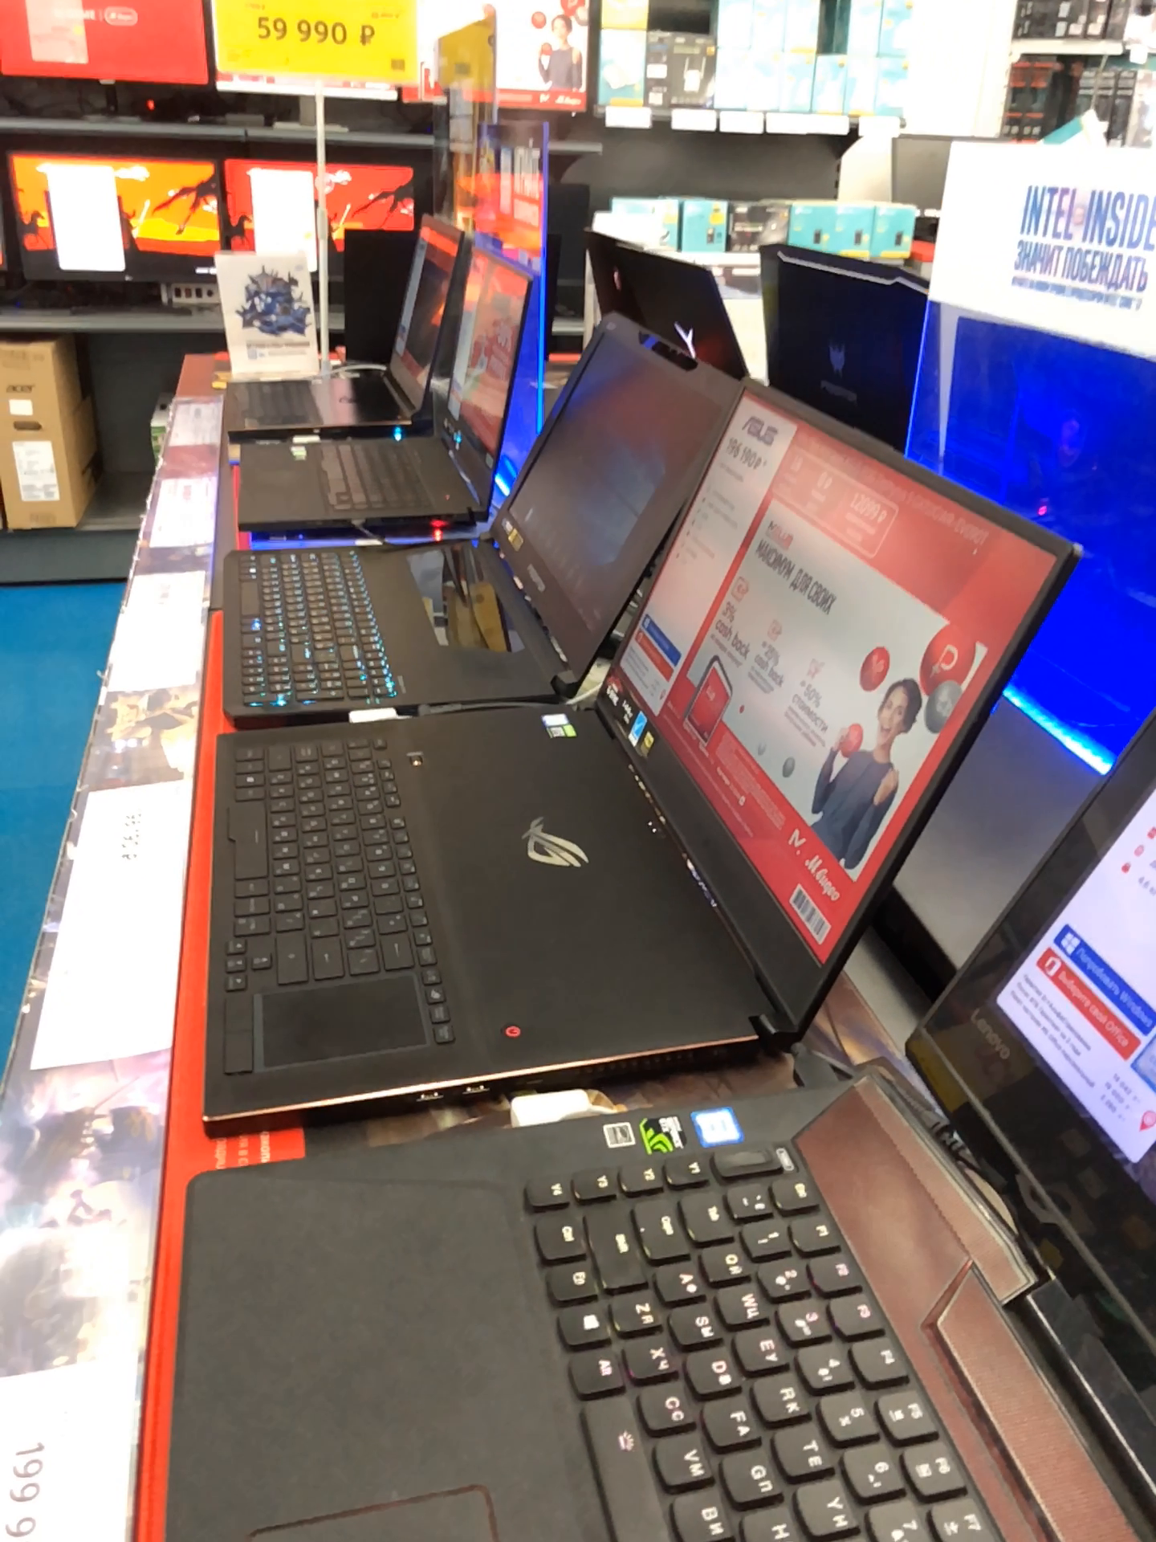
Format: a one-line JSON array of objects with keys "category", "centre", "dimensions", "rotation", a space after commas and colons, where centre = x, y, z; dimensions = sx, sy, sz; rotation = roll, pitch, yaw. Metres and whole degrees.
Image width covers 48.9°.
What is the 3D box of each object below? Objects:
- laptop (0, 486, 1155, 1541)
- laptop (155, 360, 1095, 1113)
[{"category": "laptop", "centre": [0.100, 0.105, 0.303], "dimensions": [0.411, 0.248, 0.376], "rotation": [-5, 25, -11]}, {"category": "laptop", "centre": [-0.018, -0.066, 0.712], "dimensions": [0.377, 0.240, 0.392], "rotation": [-5, 28, -13]}]
